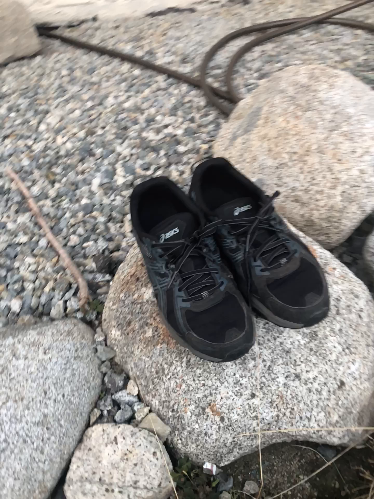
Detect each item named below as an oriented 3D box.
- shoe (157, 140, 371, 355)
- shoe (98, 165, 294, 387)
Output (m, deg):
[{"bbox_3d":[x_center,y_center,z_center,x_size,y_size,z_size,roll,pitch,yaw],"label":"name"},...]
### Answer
[{"bbox_3d":[0.083,-0.021,0.561,0.120,0.099,0.292,-24,50,-17],"label":"shoe"},{"bbox_3d":[-0.002,0.017,0.549,0.120,0.099,0.281,-24,50,-17],"label":"shoe"}]
